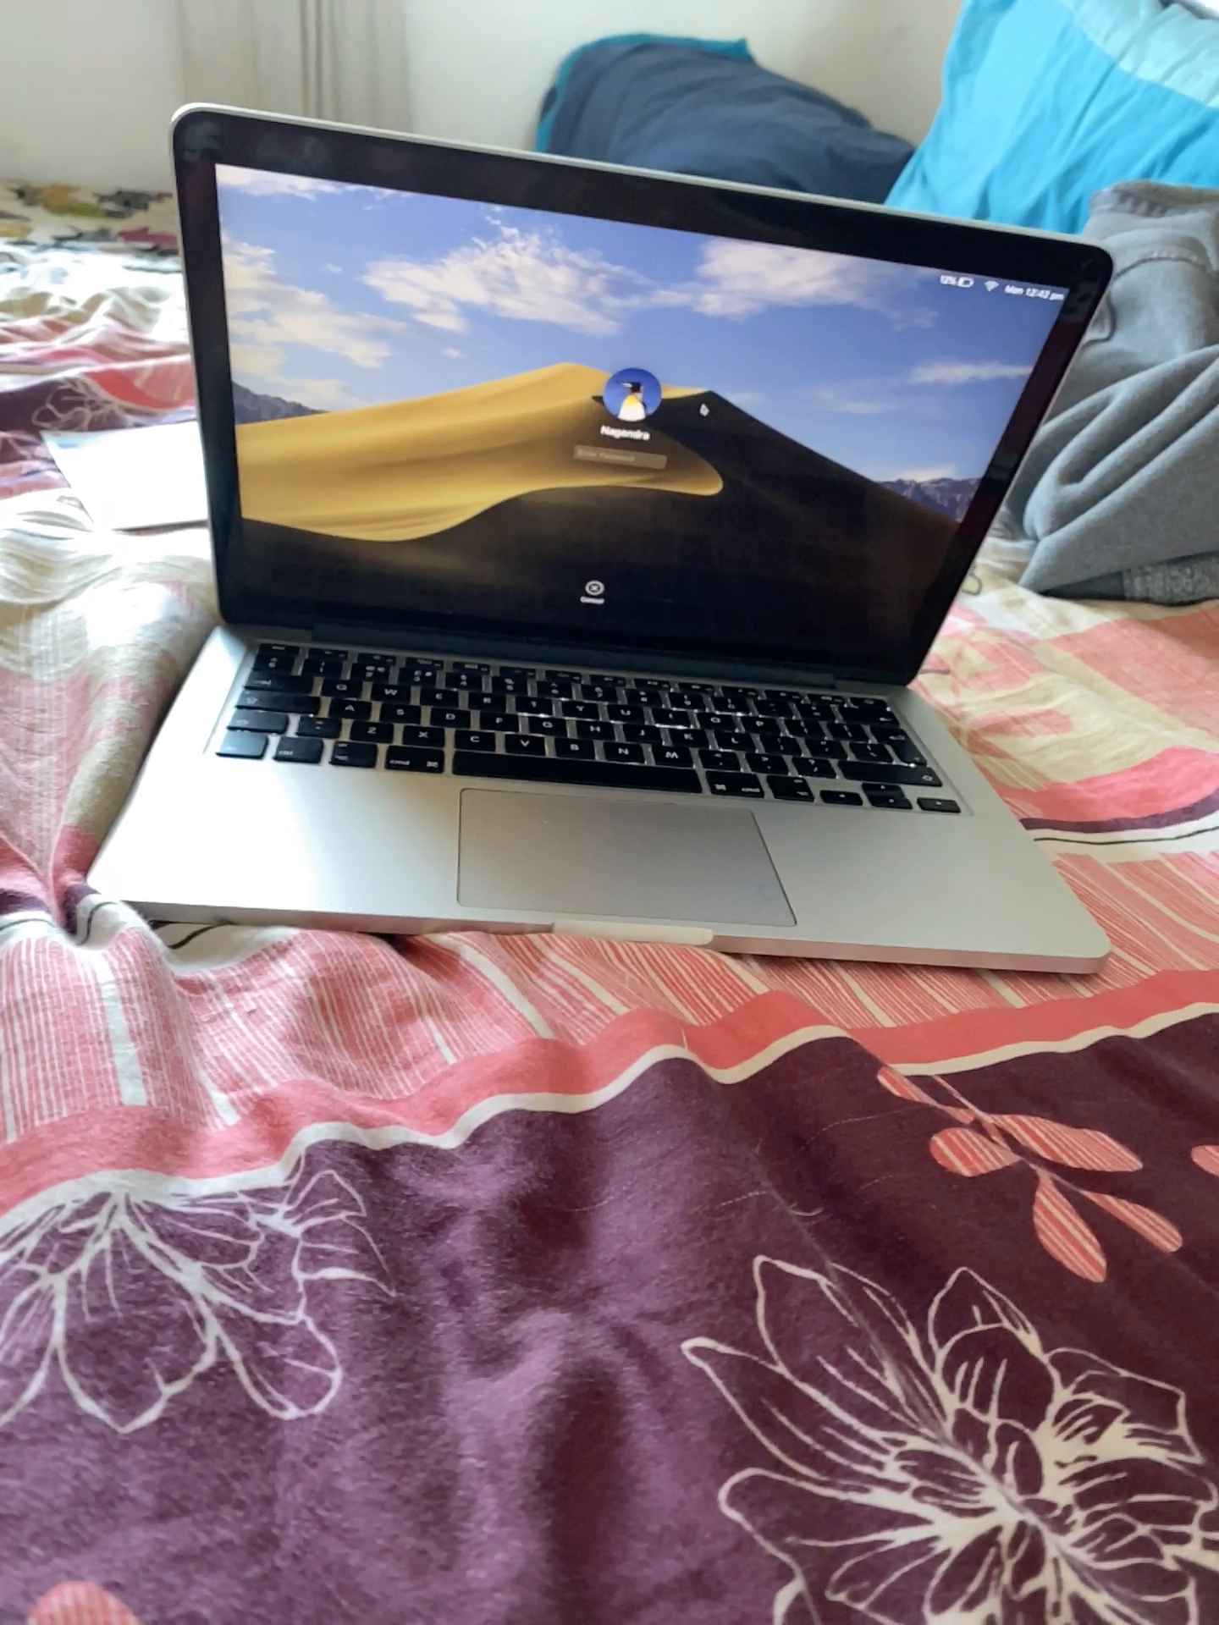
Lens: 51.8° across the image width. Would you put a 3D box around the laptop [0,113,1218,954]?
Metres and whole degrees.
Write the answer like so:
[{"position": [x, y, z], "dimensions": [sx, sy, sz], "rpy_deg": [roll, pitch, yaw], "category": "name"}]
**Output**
[{"position": [0.005, -0.099, 0.412], "dimensions": [0.303, 0.191, 0.203], "rpy_deg": [4, 30, -7], "category": "laptop"}]
